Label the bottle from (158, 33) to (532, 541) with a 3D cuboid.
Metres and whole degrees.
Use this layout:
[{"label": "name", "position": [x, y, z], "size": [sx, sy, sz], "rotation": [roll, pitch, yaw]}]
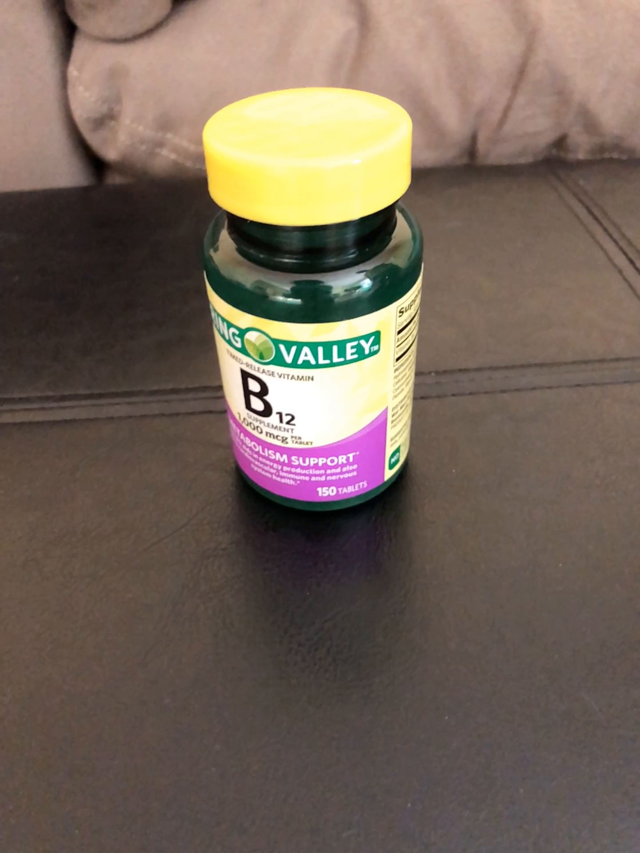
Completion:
[{"label": "bottle", "position": [0.007, -0.030, 0.163], "size": [0.050, 0.090, 0.050], "rotation": [-1, 41, 1]}]
